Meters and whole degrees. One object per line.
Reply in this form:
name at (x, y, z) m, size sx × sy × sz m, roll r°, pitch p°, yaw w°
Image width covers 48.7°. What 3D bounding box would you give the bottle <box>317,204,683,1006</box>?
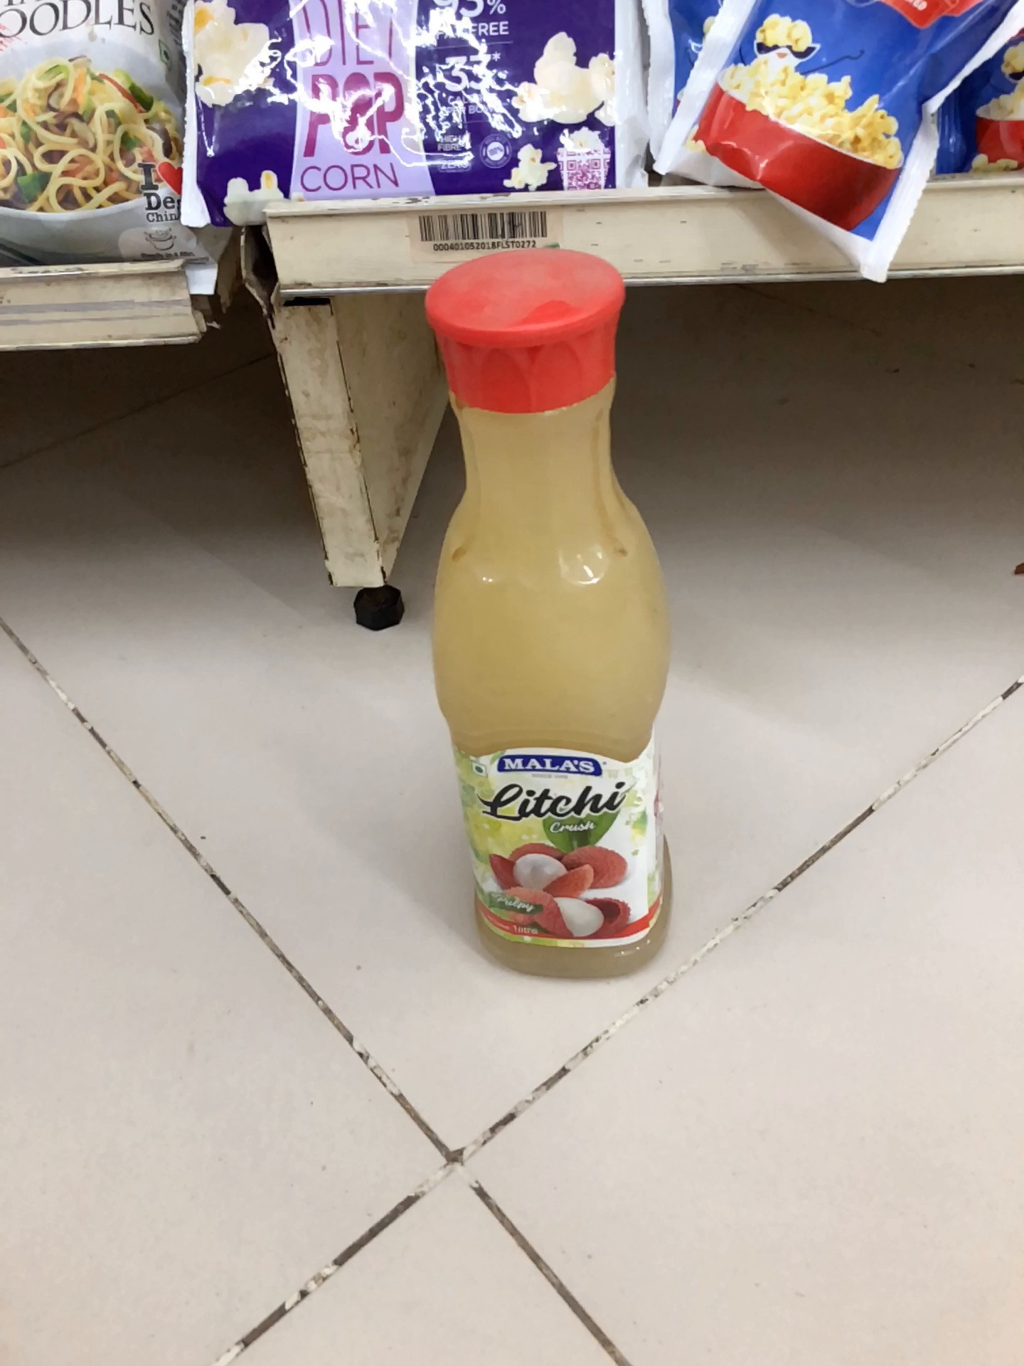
bottle at (0.015, -0.006, 0.407) m, size 0.090 × 0.288 × 0.091 m, roll -4°, pitch 41°, yaw 4°
